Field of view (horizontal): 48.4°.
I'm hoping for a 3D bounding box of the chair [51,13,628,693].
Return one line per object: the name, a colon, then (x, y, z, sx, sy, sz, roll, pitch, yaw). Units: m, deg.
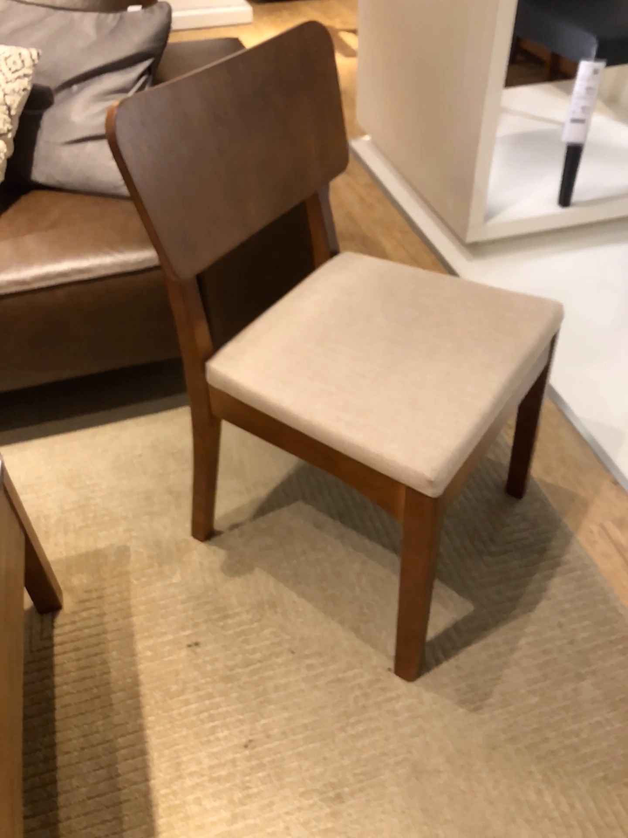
chair: (0.074, -0.103, 1.102, 0.531, 0.794, 0.513, 24, 49, 25)
